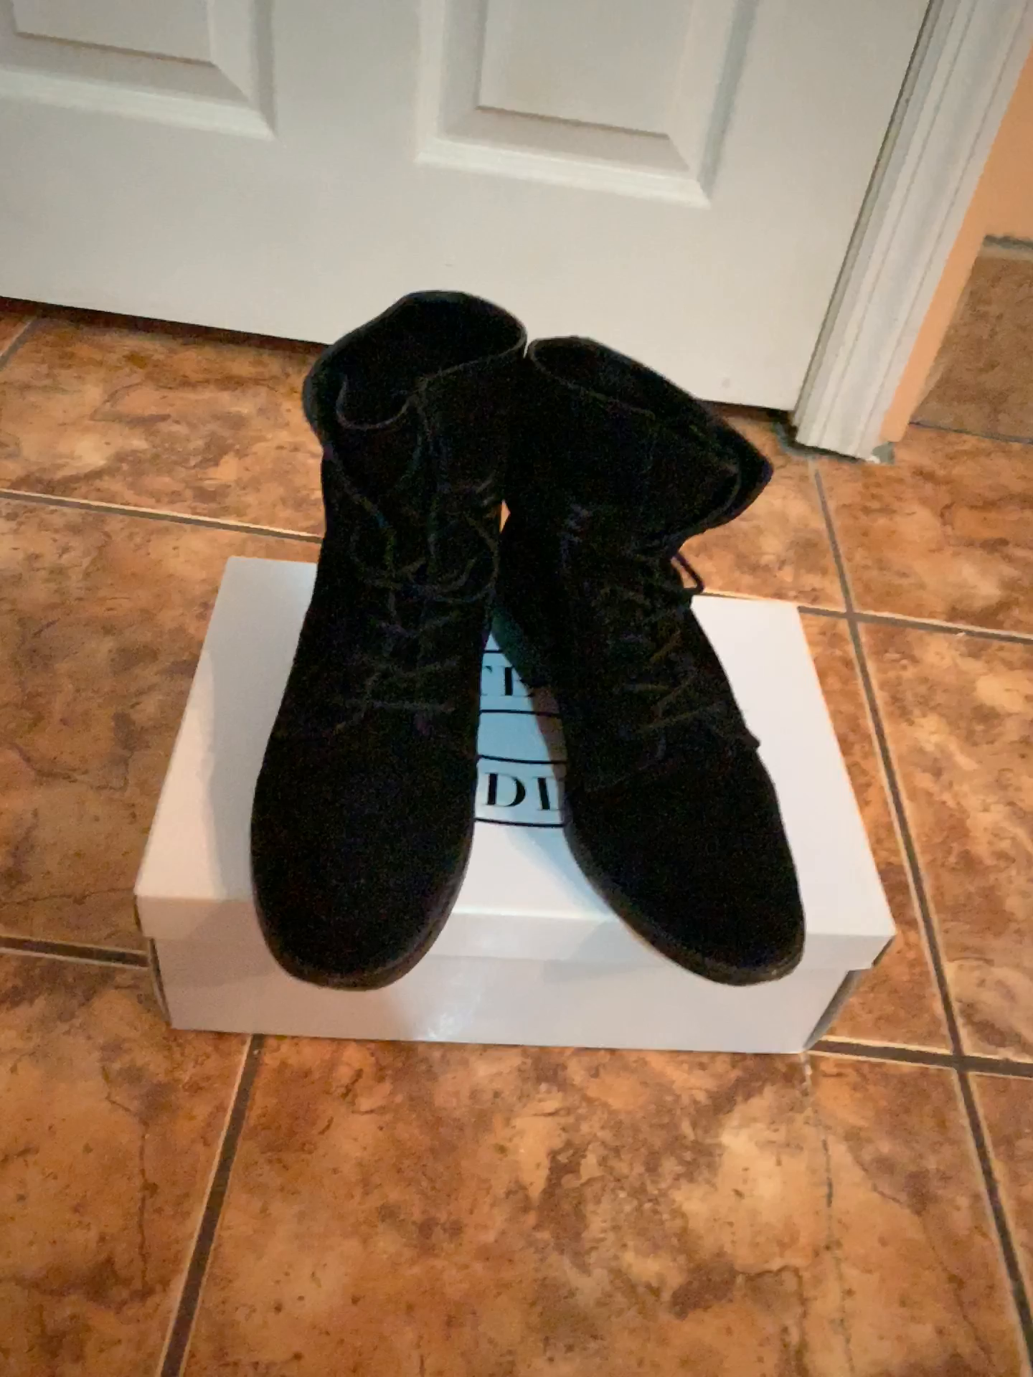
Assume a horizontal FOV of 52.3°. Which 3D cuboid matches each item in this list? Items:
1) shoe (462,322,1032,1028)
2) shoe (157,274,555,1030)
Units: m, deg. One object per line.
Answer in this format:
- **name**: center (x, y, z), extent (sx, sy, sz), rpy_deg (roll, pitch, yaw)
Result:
- **shoe**: center (0.064, -0.024, 0.440), extent (0.107, 0.142, 0.268), rpy_deg (-4, 44, -15)
- **shoe**: center (-0.046, -0.029, 0.409), extent (0.094, 0.152, 0.258), rpy_deg (8, 42, -3)
